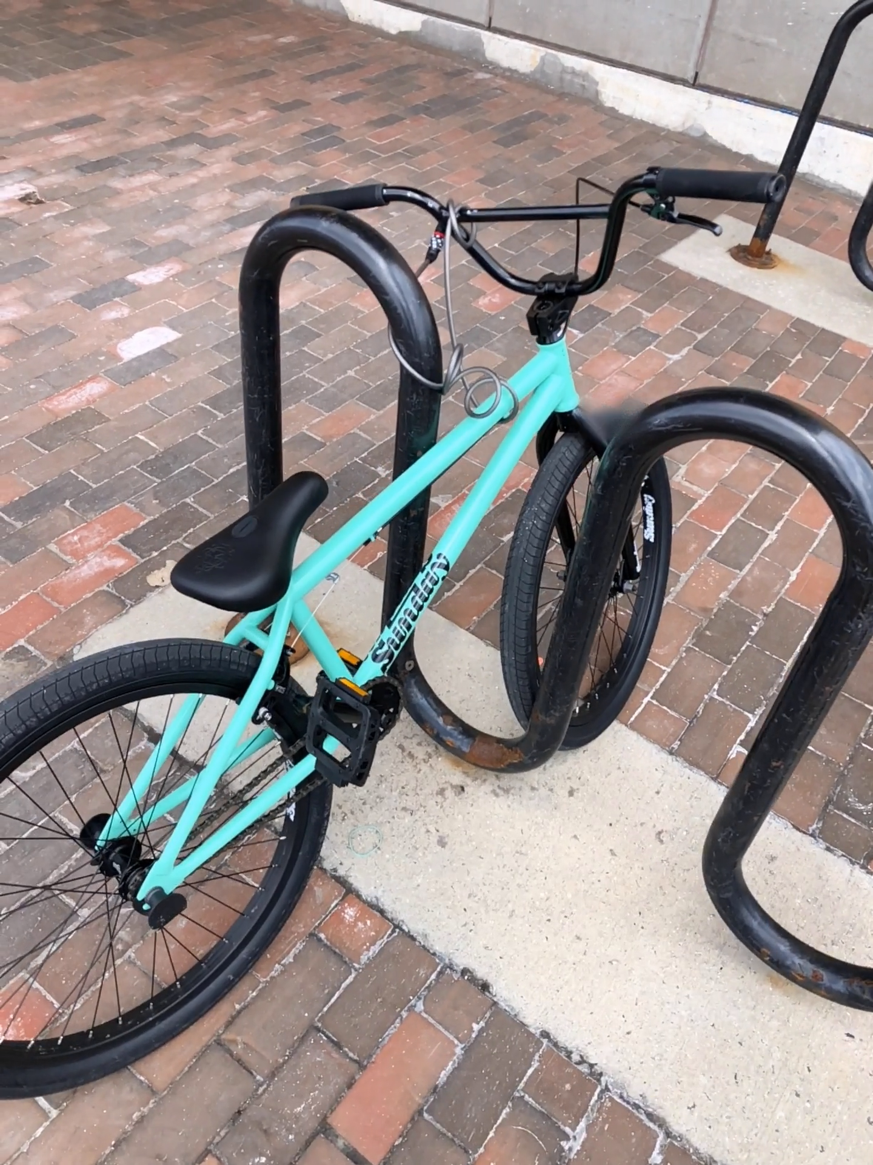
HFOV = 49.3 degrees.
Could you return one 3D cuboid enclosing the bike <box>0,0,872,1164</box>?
[{"bbox_3d":[-0.080,-0.048,1.269,0.811,1.067,1.468,35,51,27],"label":"bike"}]
